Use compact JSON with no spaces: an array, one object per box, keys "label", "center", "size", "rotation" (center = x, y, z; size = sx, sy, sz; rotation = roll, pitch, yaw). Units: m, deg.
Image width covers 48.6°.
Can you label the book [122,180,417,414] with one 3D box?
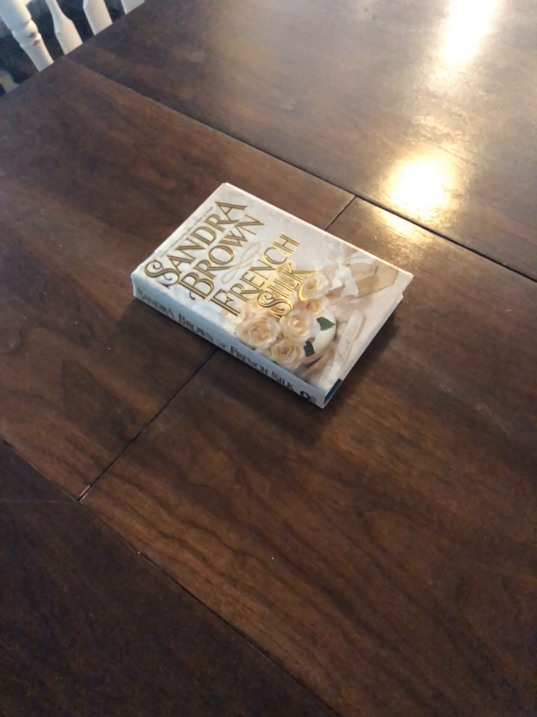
[{"label":"book","center":[0.000,-0.073,0.596],"size":[0.240,0.033,0.161],"rotation":[30,64,18]}]
